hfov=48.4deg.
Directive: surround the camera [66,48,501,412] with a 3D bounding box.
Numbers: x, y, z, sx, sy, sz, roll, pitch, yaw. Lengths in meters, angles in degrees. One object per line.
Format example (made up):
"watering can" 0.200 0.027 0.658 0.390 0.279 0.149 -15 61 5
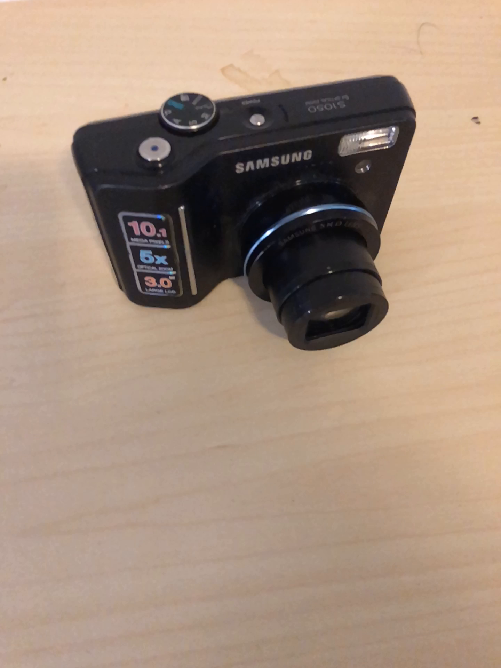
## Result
"camera" 0.008 -0.031 0.182 0.110 0.070 0.070 -12 63 -7
